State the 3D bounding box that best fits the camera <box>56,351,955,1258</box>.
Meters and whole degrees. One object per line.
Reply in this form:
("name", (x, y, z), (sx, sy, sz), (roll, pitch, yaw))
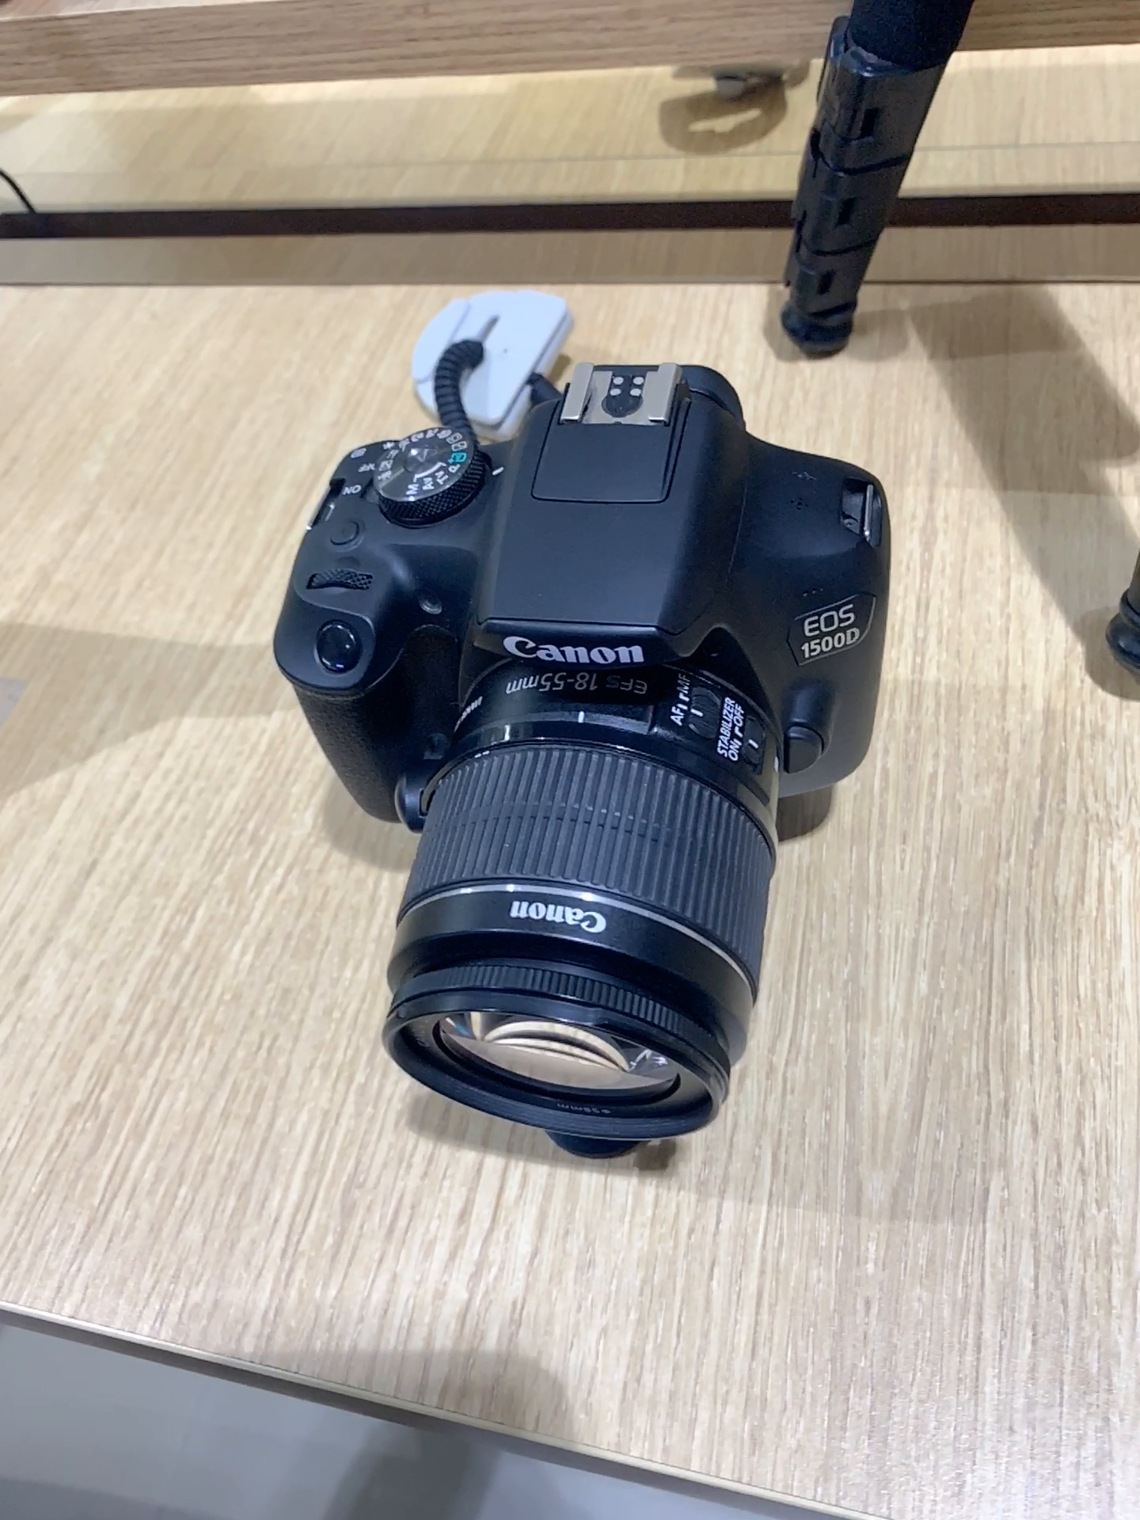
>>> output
("camera", (0.005, 0.003, 0.229), (0.121, 0.088, 0.140), (3, 54, 13))
